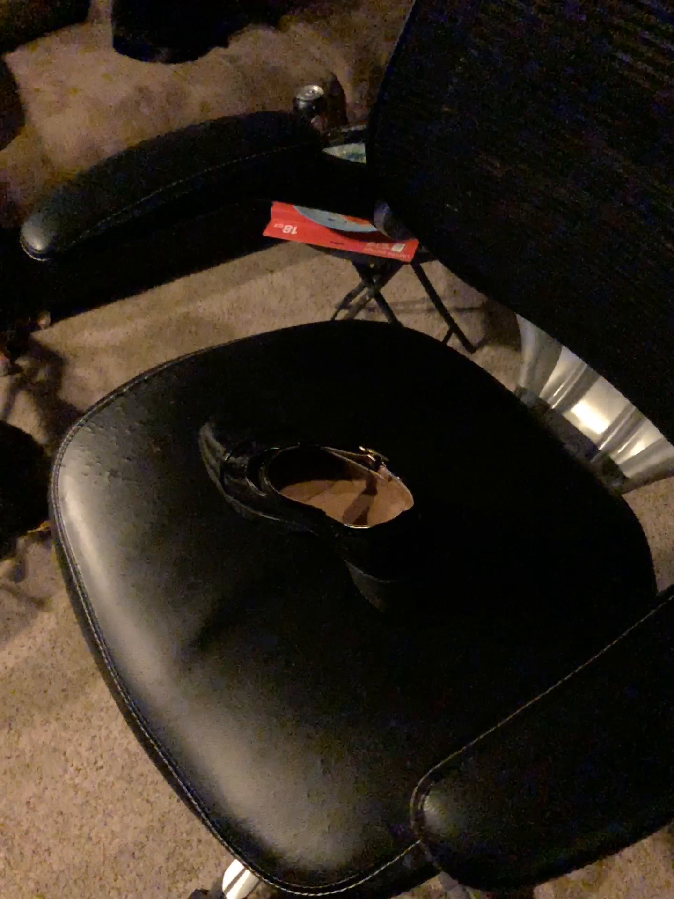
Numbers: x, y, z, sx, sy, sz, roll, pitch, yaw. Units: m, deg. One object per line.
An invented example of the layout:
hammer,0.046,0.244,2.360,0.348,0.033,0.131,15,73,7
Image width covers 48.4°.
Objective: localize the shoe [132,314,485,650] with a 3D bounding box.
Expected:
shoe,-0.030,0.015,0.606,0.270,0.100,0.110,36,59,27
